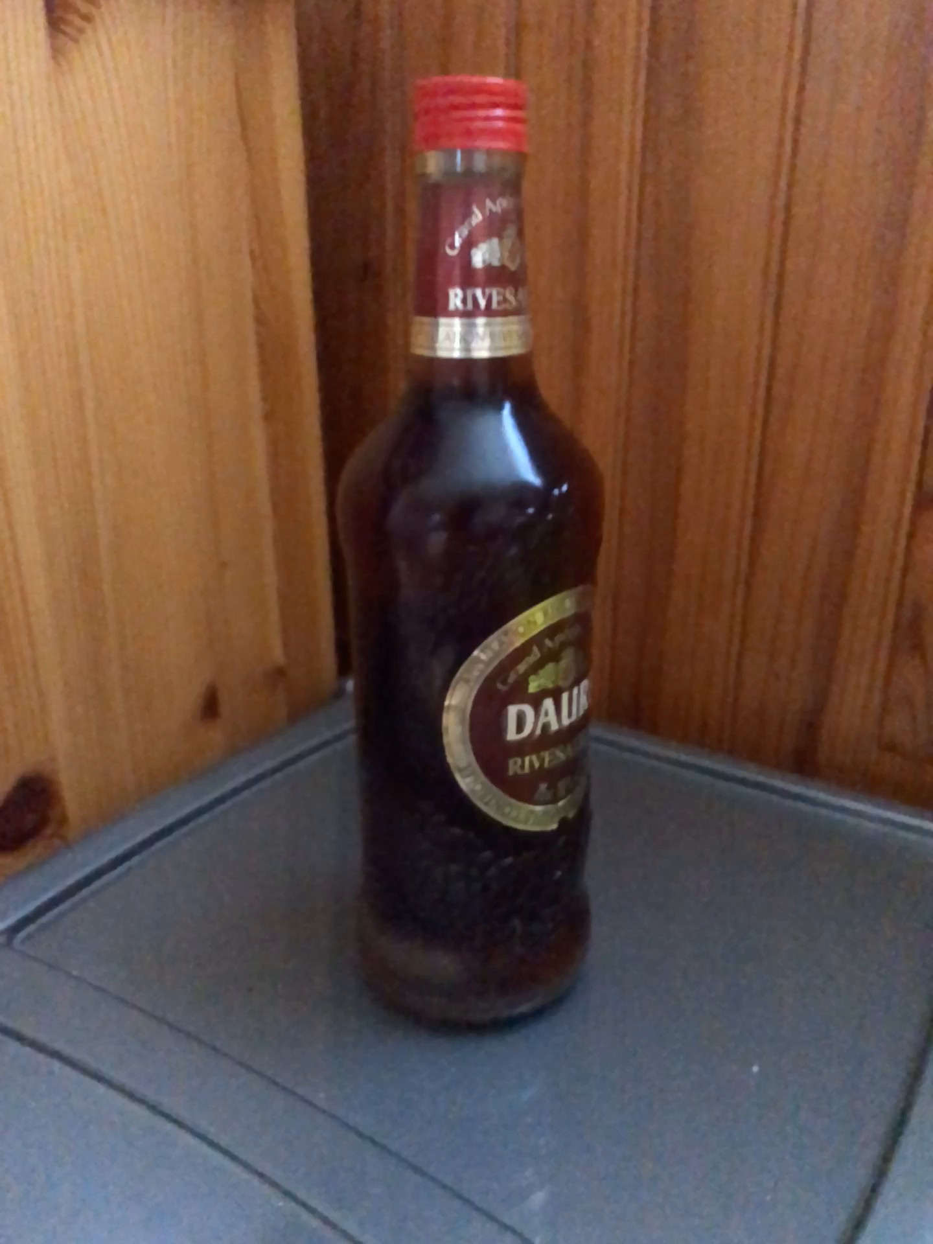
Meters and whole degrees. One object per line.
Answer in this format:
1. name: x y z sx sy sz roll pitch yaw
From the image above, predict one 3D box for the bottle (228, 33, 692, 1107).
1. bottle: -0.001 -0.010 0.336 0.090 0.299 0.090 0 20 0
